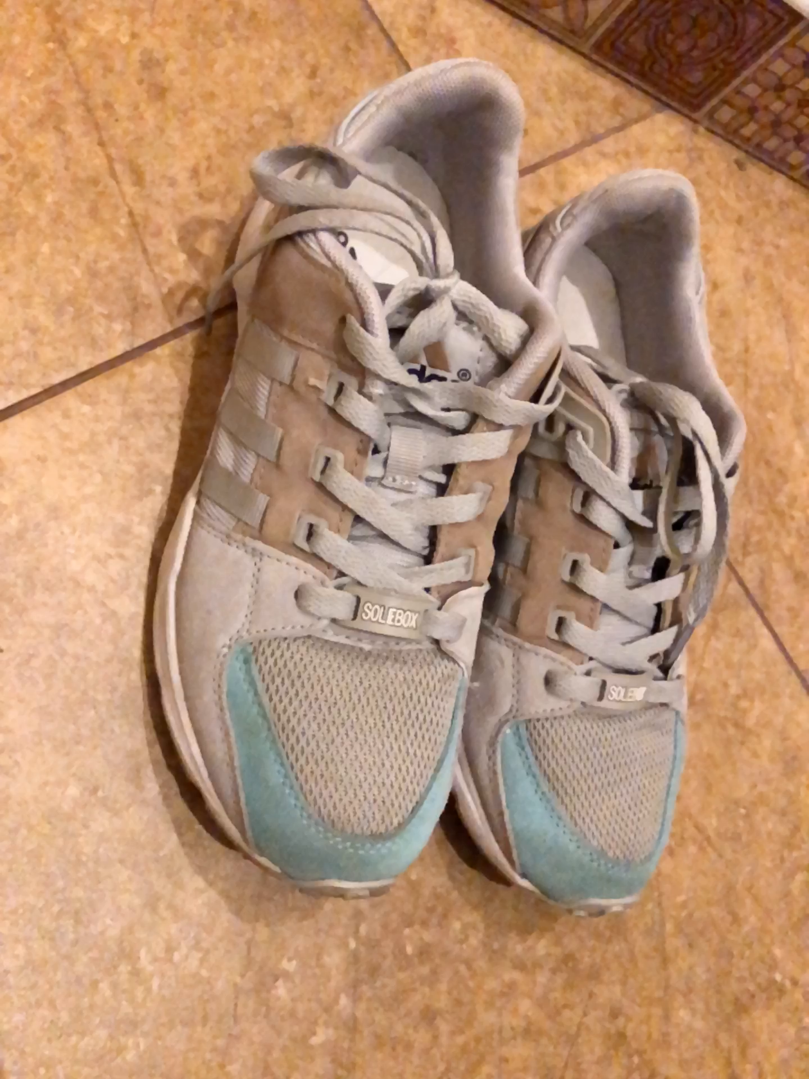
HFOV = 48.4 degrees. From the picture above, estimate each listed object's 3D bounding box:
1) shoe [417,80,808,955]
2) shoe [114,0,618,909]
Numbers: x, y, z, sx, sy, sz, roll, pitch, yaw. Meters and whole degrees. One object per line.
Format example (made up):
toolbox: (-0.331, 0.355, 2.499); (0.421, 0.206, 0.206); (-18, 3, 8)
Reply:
shoe: (0.074, -0.008, 0.315); (0.108, 0.080, 0.260); (7, 72, -28)
shoe: (-0.009, -0.032, 0.278); (0.110, 0.080, 0.260); (10, 71, -27)
